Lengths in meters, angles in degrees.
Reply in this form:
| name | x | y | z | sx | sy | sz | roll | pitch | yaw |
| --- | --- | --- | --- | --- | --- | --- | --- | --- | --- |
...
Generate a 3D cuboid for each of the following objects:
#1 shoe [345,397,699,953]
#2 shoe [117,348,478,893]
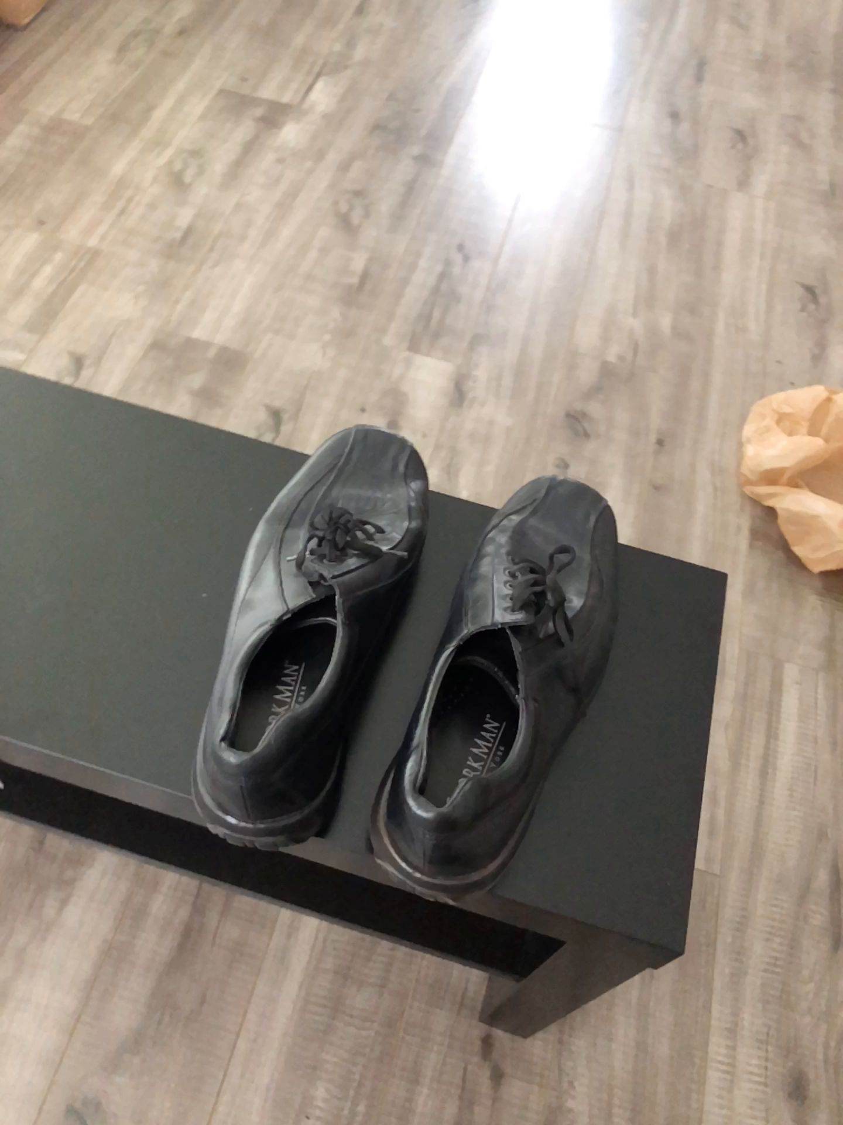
| name | x | y | z | sx | sy | sz | roll | pitch | yaw |
| --- | --- | --- | --- | --- | --- | --- | --- | --- | --- |
| shoe | 0.064 | 0.054 | 0.543 | 0.110 | 0.110 | 0.286 | 20 | 57 | 7 |
| shoe | -0.057 | 0.023 | 0.541 | 0.110 | 0.110 | 0.283 | 15 | 56 | 3 |
